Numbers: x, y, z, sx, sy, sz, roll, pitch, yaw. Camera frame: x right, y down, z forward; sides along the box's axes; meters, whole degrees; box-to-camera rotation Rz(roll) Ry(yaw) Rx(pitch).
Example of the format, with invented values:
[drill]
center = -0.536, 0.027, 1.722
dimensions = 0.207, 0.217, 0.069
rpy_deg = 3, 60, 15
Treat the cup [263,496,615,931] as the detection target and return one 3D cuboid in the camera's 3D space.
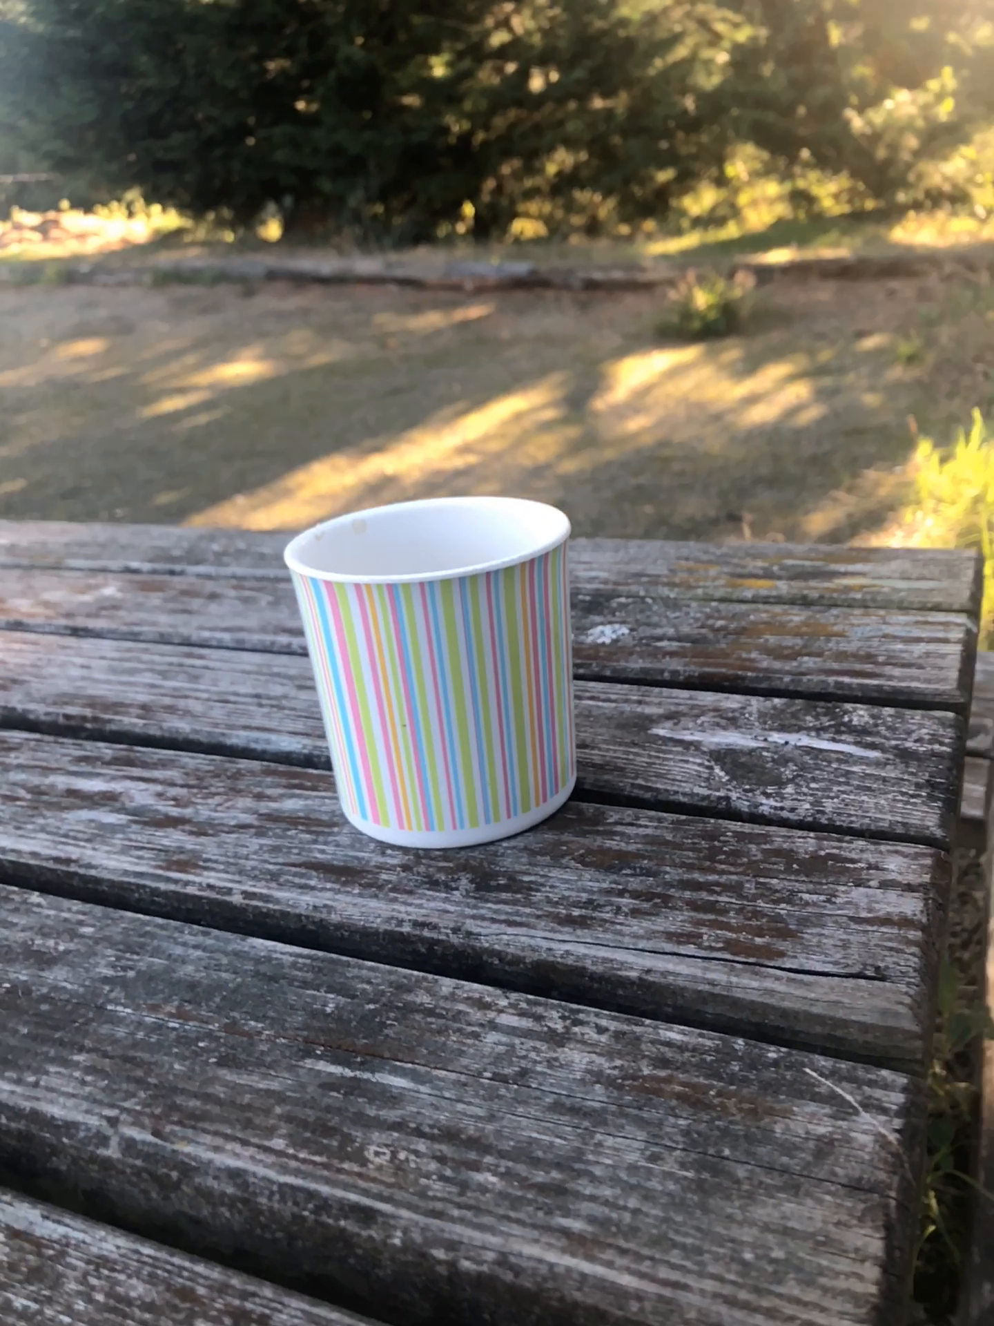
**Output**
[cup]
center = -0.025, 0.007, 0.387
dimensions = 0.098, 0.096, 0.134
rpy_deg = -7, 22, -9
